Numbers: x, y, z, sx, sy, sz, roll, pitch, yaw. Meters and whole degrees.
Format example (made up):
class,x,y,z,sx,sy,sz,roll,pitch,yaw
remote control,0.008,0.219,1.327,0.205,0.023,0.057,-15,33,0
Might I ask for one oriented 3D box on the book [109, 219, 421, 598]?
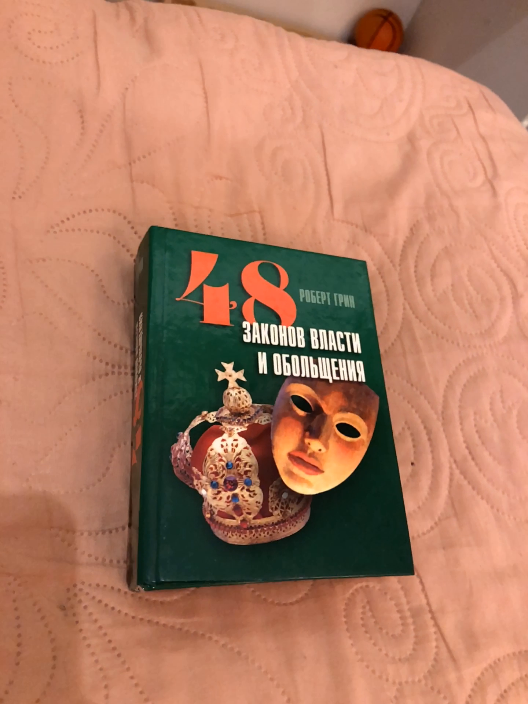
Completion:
class,x,y,z,sx,sy,sz,roll,pitch,yaw
book,-0.003,0.021,0.245,0.110,0.032,0.143,6,62,-21
